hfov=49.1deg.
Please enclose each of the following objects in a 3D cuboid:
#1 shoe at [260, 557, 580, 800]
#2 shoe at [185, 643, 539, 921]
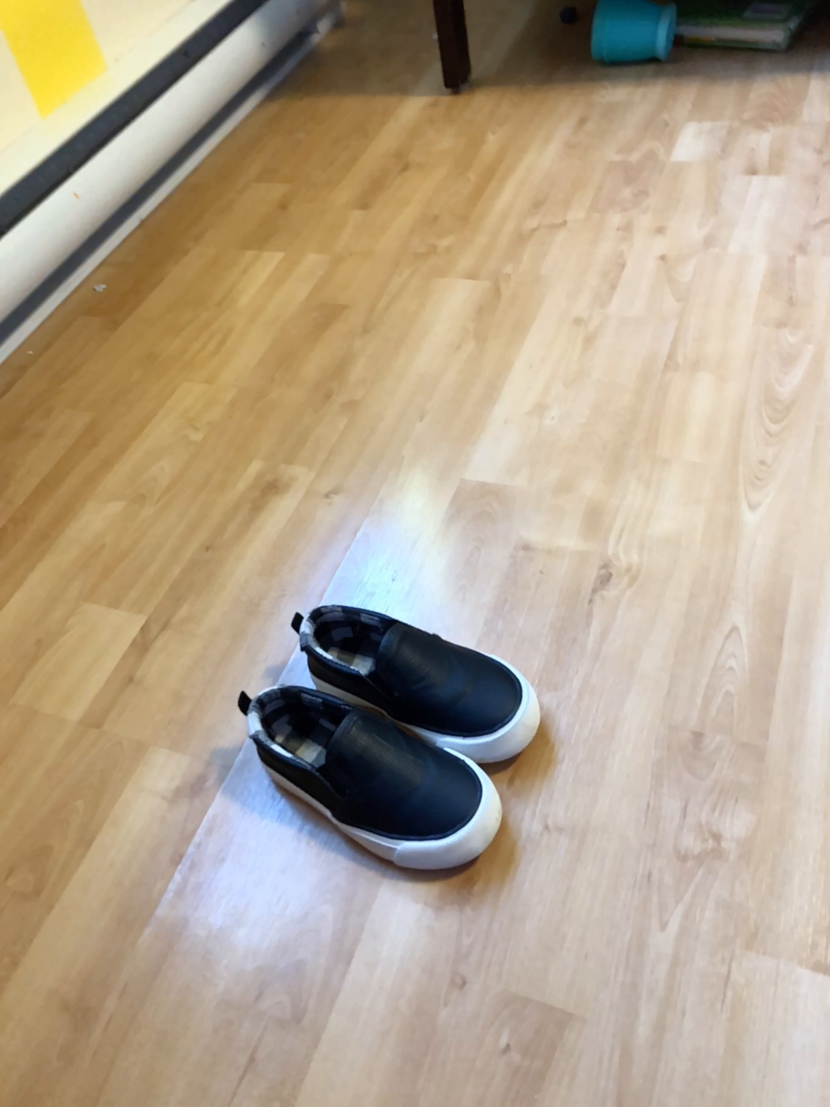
[{"bbox_3d":[0.004,0.075,0.579,0.180,0.060,0.080,17,54,26],"label":"shoe"},{"bbox_3d":[-0.030,0.126,0.525,0.180,0.060,0.080,16,54,25],"label":"shoe"}]
